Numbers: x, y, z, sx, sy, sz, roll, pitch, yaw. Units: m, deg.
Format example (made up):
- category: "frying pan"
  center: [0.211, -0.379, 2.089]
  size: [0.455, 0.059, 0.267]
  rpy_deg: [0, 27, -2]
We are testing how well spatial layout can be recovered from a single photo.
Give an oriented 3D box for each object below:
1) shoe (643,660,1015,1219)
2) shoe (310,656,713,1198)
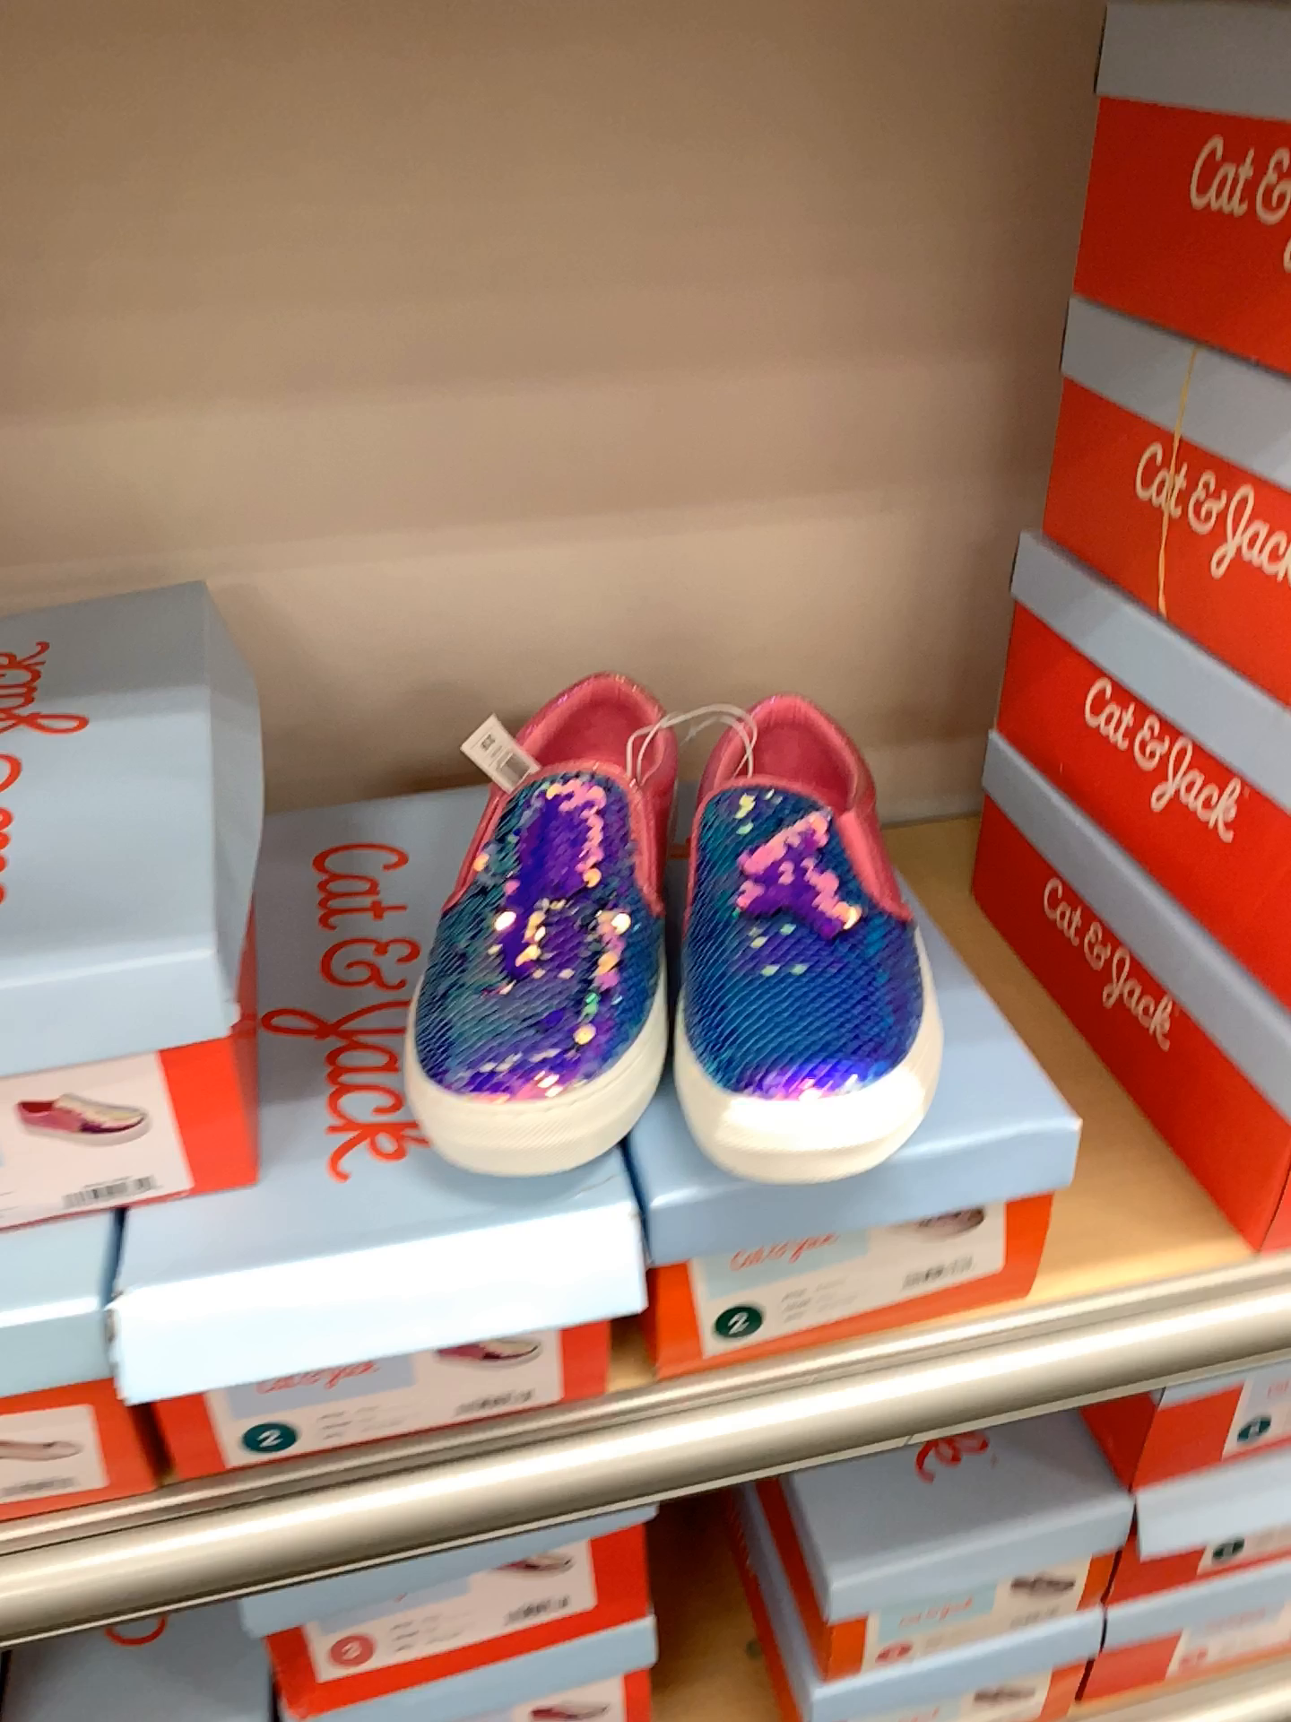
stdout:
- category: "shoe"
  center: [0.049, 0.013, 0.457]
  size: [0.090, 0.074, 0.211]
  rpy_deg: [-3, 34, -1]
- category: "shoe"
  center: [-0.031, 0.009, 0.466]
  size: [0.100, 0.074, 0.211]
  rpy_deg: [2, 34, 5]
